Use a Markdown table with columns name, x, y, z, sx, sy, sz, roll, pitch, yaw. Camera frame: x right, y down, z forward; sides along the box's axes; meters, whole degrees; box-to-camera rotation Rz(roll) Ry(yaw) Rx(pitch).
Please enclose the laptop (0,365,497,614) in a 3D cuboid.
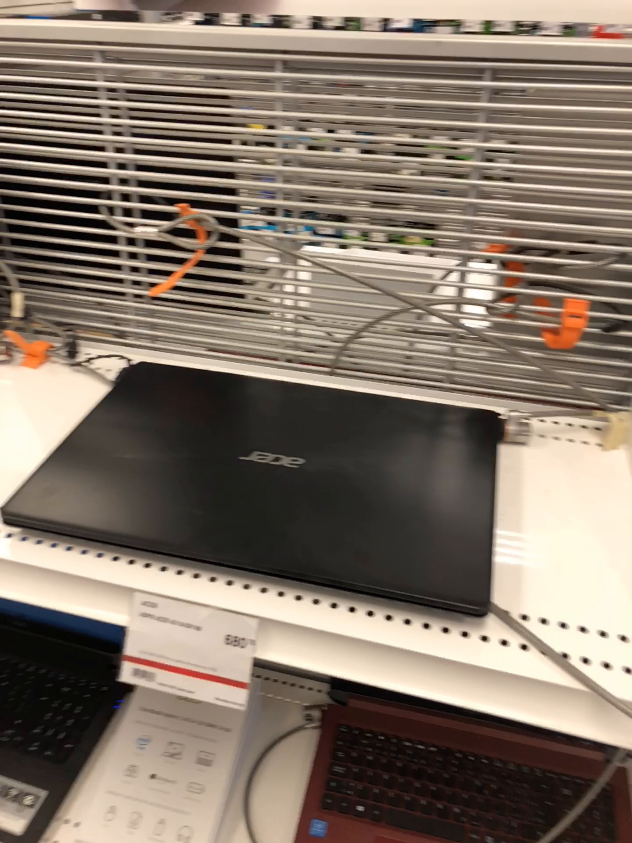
| name | x | y | z | sx | sy | sz | roll | pitch | yaw |
| --- | --- | --- | --- | --- | --- | --- | --- | --- | --- |
| laptop | -0.035 | 0.034 | 0.577 | 0.354 | 0.006 | 0.232 | 9 | 35 | 11 |
